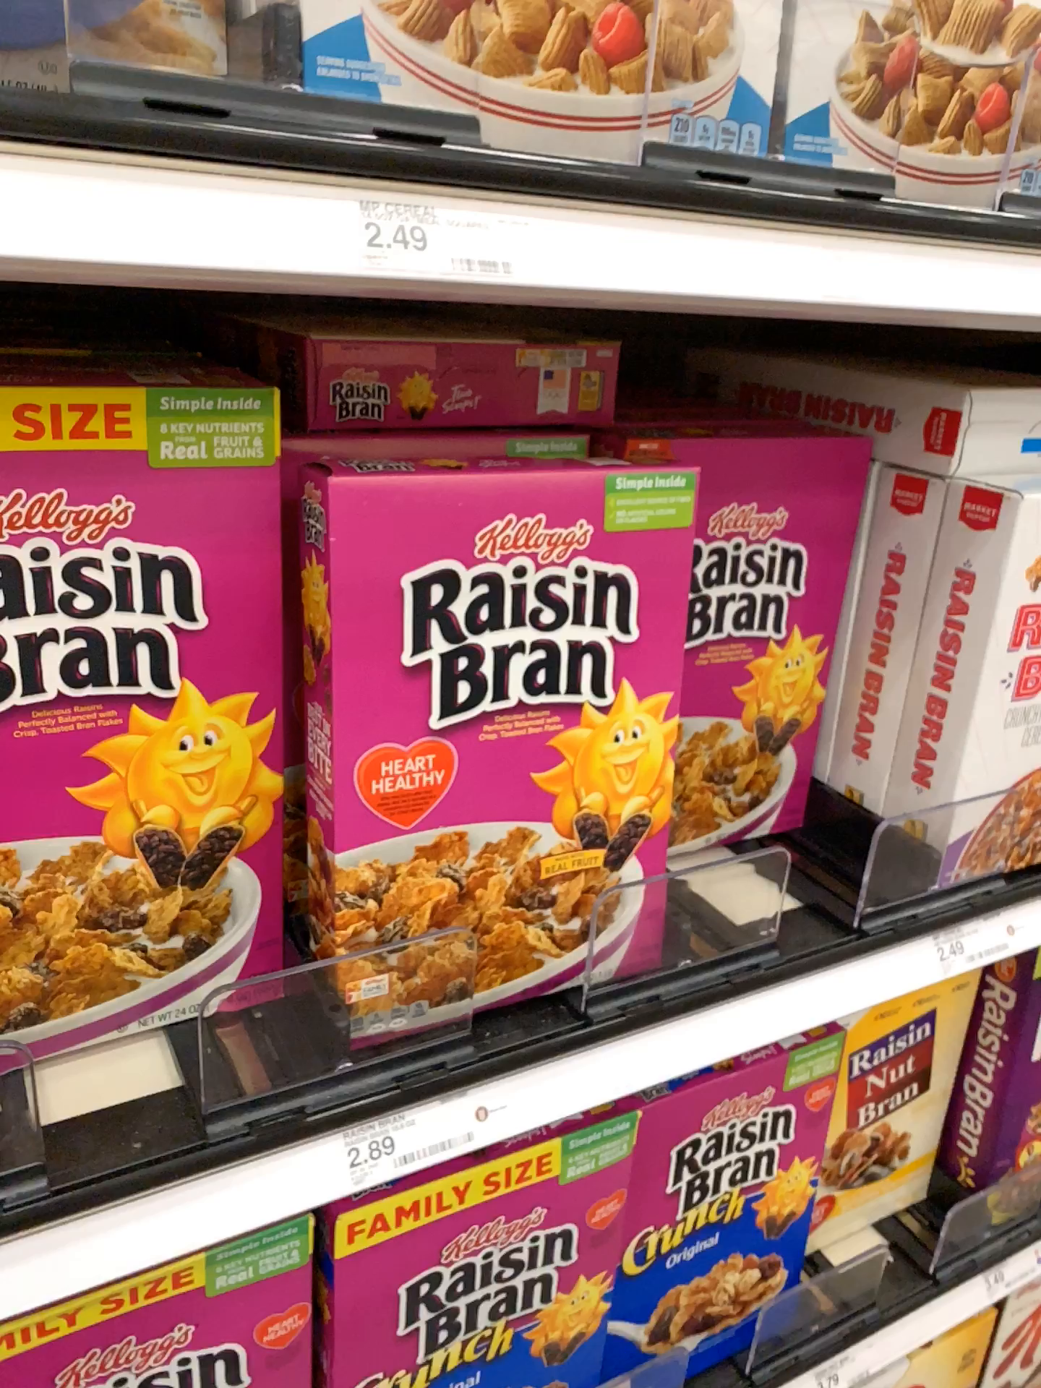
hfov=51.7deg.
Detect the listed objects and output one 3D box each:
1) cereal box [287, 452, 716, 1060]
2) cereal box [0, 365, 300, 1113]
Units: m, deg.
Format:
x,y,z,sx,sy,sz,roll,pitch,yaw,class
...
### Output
x,y,z,sx,sy,sz,roll,pitch,yaw,class
-0.008,0.024,0.544,0.200,0.279,0.050,-8,20,-28,cereal box
-0.217,0.013,0.479,0.220,0.299,0.060,-8,23,-28,cereal box
